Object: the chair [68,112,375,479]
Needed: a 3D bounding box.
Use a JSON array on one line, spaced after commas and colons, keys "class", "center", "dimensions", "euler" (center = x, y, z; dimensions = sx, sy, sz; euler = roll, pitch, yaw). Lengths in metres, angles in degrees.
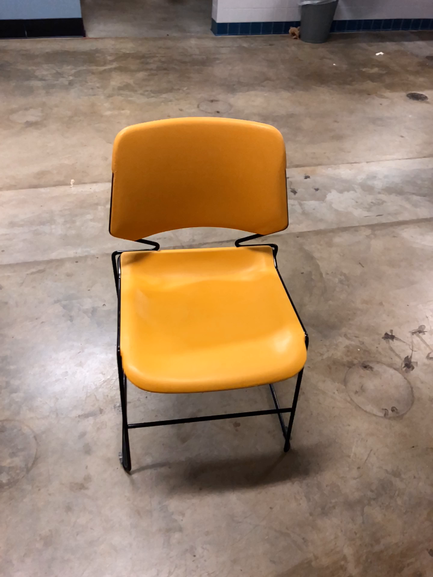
[{"class": "chair", "center": [-0.039, 0.035, 1.266], "dimensions": [0.529, 0.796, 0.526], "euler": [-4, 43, -9]}]
